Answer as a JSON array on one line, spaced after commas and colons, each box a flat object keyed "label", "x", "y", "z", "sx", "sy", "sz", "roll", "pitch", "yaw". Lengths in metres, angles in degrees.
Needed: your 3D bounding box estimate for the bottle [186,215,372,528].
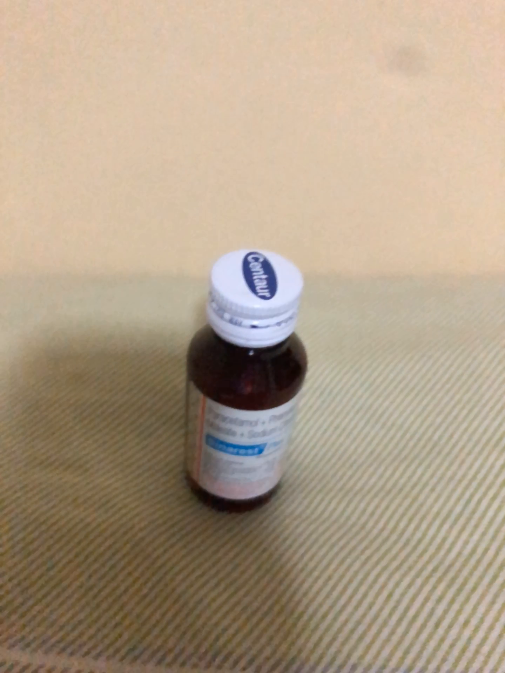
[{"label": "bottle", "x": 0.001, "y": 0.016, "z": 0.184, "sx": 0.040, "sy": 0.100, "sz": 0.040, "roll": 4, "pitch": 43, "yaw": -4}]
